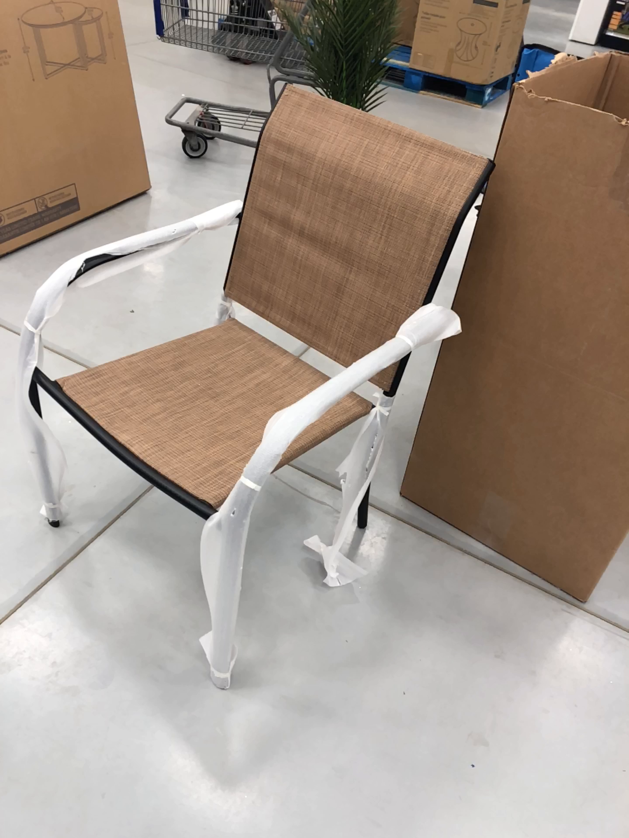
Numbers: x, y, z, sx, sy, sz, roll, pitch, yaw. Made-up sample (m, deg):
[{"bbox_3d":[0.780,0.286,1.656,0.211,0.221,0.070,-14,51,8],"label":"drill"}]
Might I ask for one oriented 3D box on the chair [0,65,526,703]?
[{"bbox_3d":[-0.146,-0.097,1.333,0.621,0.876,0.632,33,45,27],"label":"chair"}]
